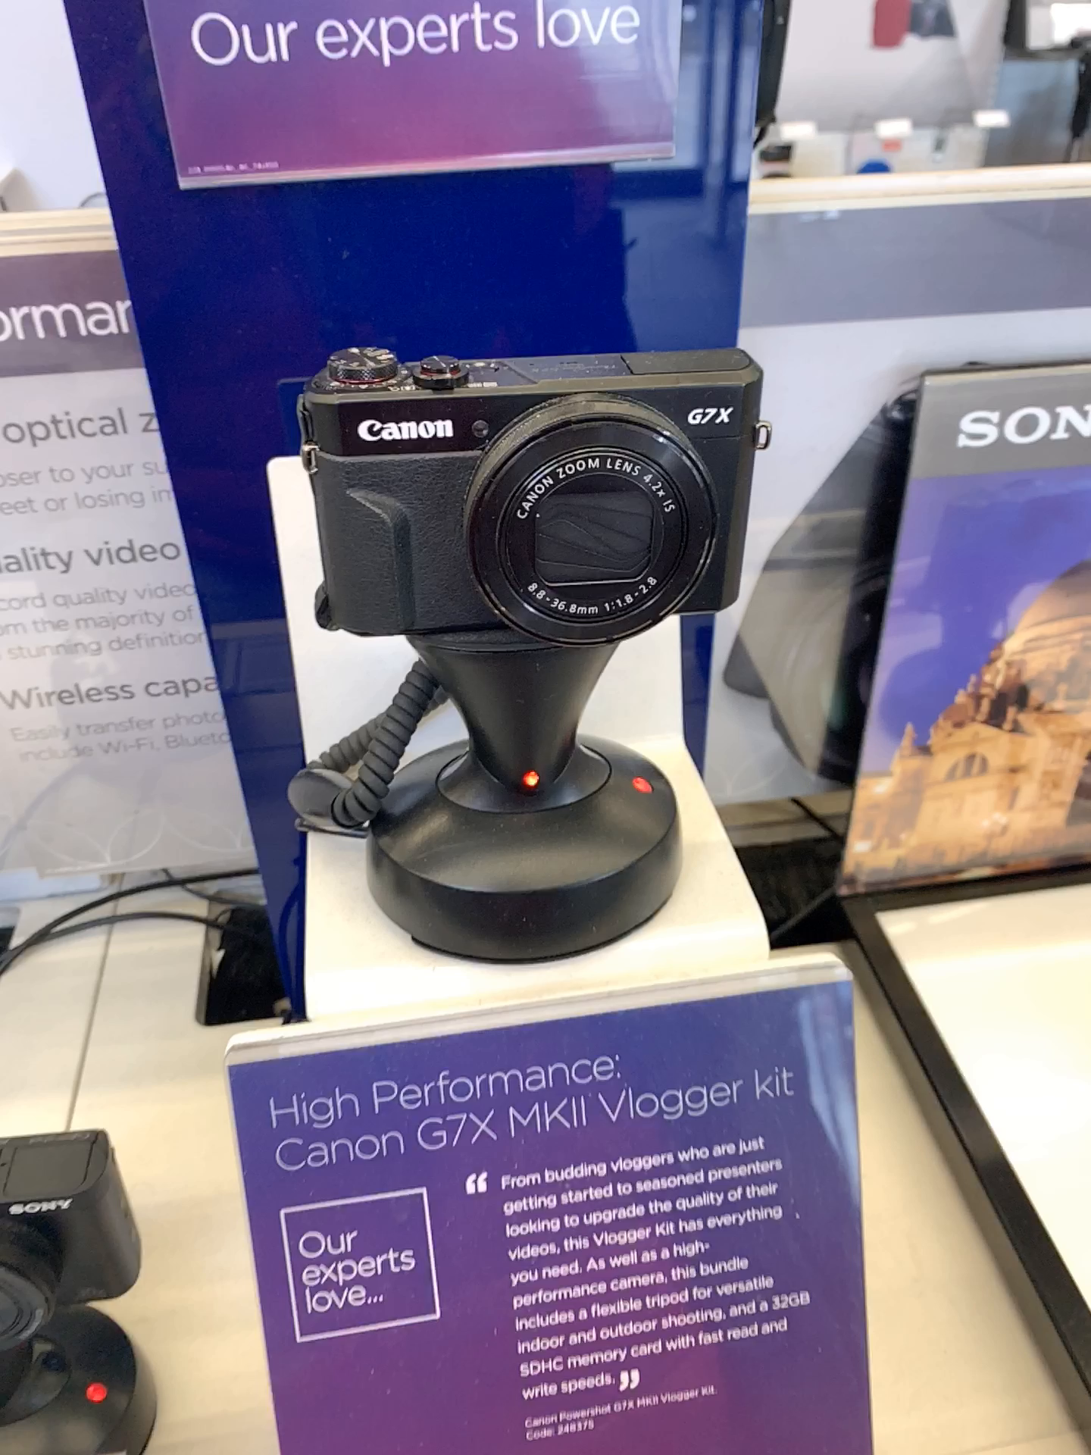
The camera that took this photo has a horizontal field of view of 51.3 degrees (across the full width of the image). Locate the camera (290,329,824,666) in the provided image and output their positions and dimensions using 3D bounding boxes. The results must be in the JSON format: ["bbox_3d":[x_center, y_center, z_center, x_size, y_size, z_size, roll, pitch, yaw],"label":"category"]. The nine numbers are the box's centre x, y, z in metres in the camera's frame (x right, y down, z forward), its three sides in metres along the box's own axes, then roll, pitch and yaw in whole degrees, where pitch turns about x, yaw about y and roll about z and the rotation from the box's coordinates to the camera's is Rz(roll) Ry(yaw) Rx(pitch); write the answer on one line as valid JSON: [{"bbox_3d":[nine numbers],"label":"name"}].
[{"bbox_3d":[0.002,-0.053,0.260,0.108,0.059,0.038,-4,33,-4],"label":"camera"}]
